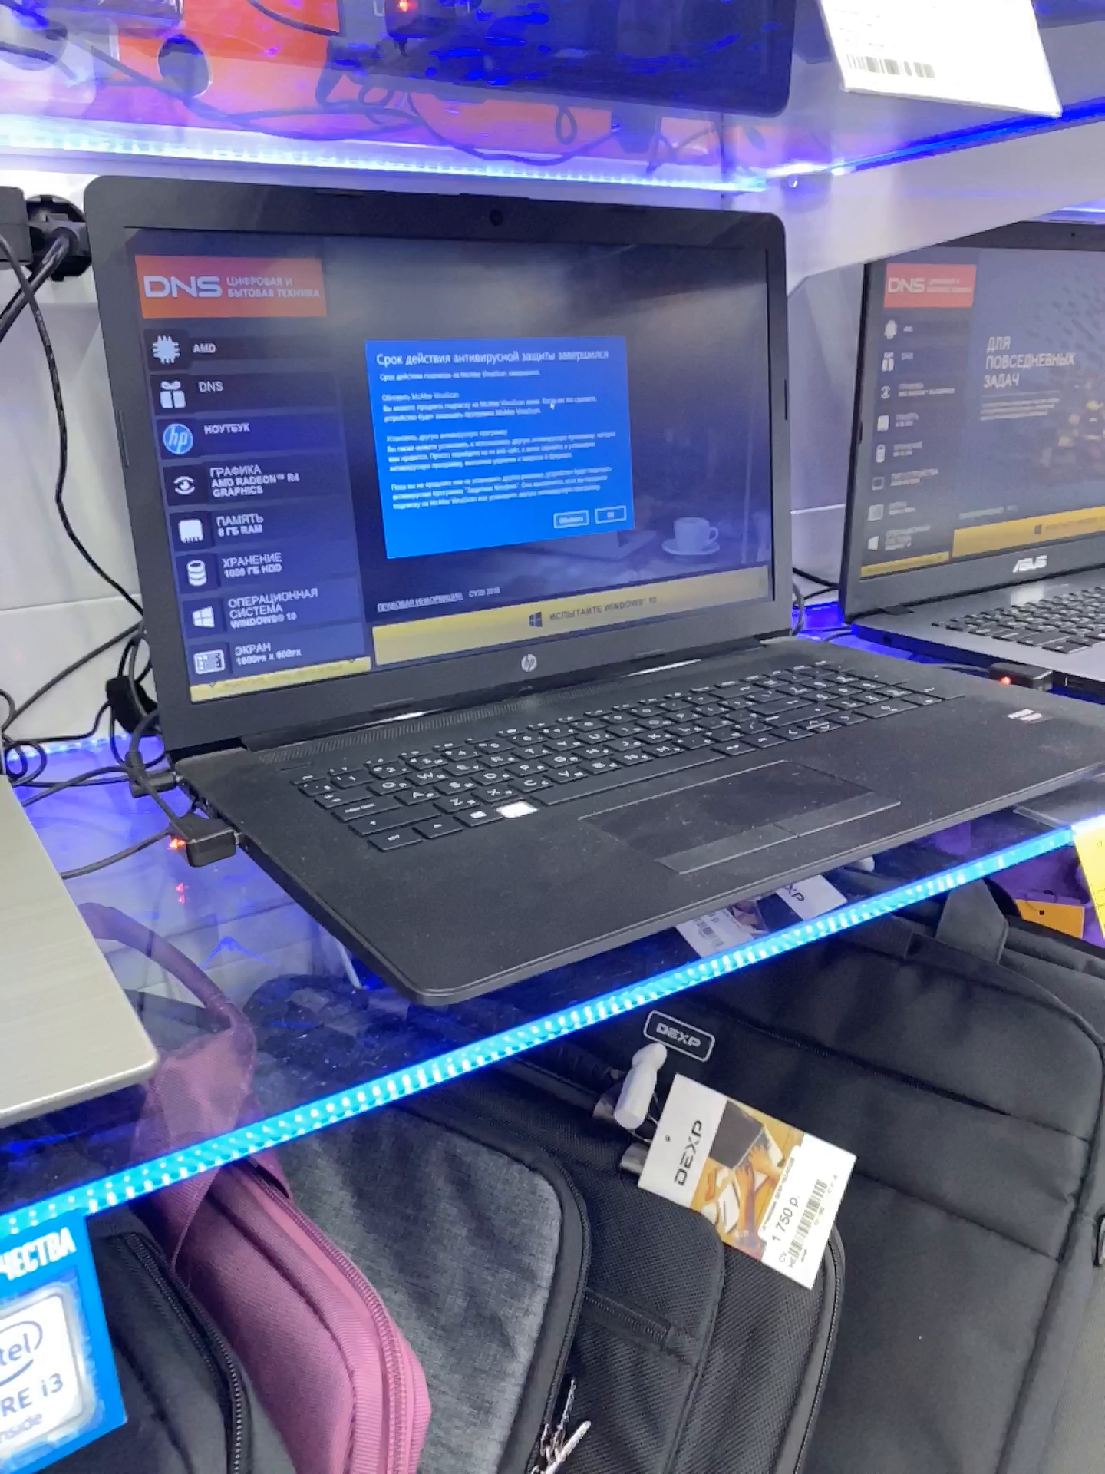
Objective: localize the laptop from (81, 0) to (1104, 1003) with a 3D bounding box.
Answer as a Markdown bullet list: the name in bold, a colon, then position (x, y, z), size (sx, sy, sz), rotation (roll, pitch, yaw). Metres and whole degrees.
- **laptop**: position (0.054, -0.121, 0.526), size (0.419, 0.260, 0.295), rotation (-12, 21, -32)
